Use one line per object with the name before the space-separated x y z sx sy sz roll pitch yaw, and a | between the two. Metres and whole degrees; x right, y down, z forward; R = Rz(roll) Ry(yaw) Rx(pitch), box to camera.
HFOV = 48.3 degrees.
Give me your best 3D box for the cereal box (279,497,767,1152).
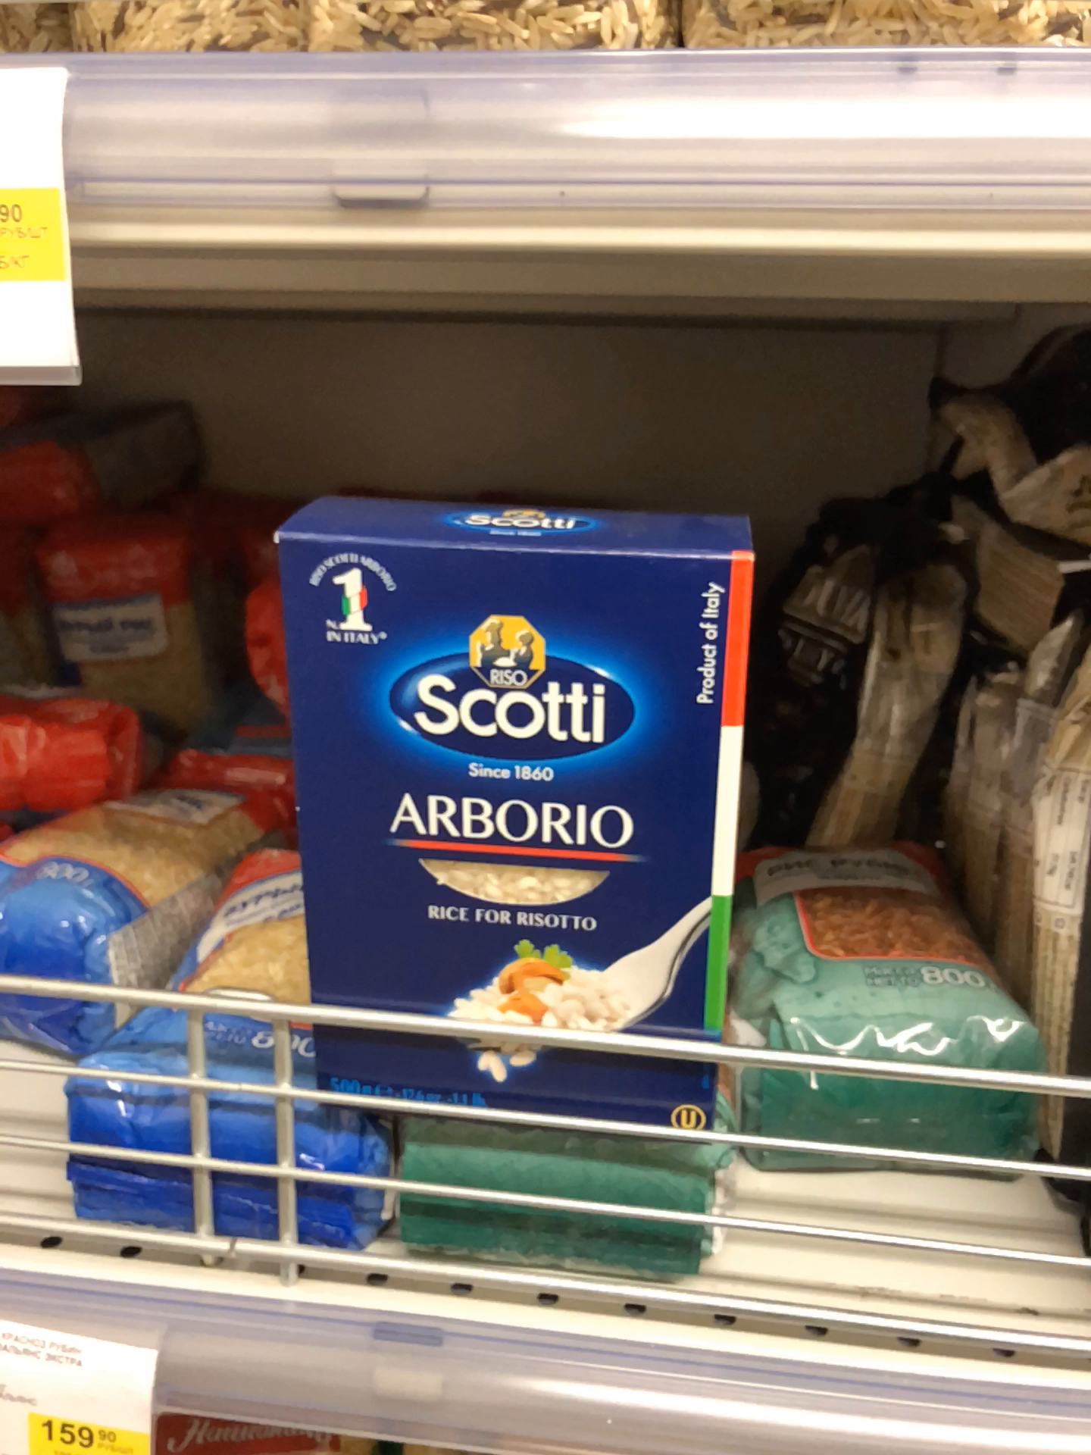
cereal box | -0.004 0.025 0.322 0.110 0.159 0.050 3 19 6
